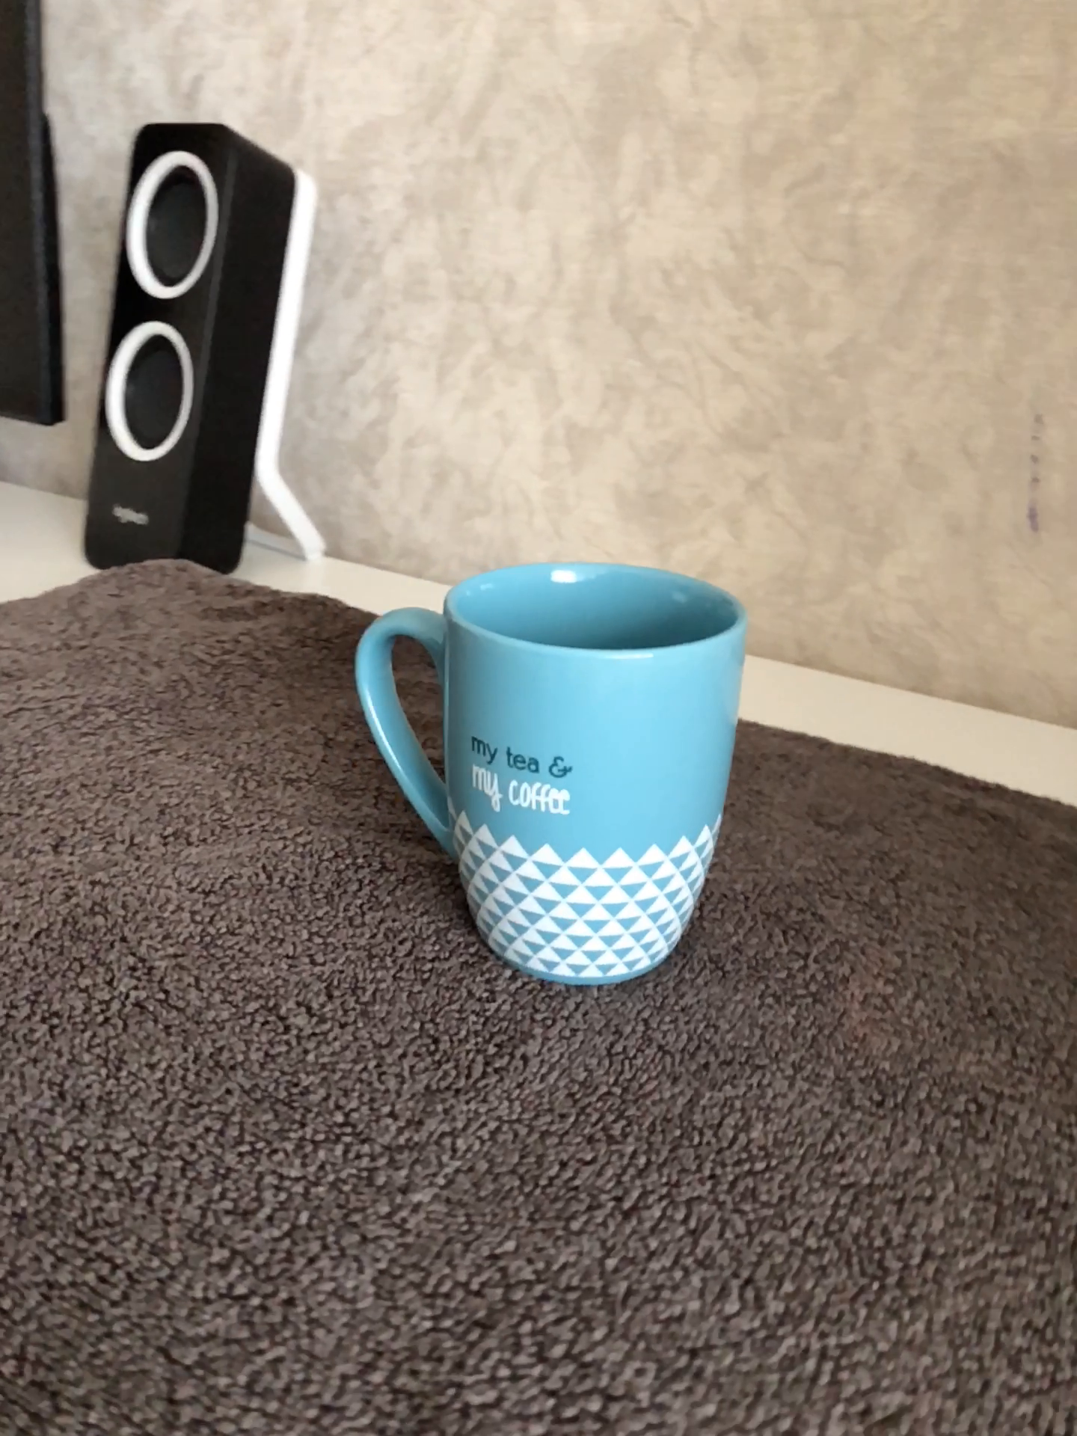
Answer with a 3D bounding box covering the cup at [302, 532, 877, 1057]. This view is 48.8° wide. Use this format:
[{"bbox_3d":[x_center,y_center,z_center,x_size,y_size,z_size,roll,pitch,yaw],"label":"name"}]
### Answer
[{"bbox_3d":[0.014,0.011,0.325,0.126,0.090,0.087,13,24,22],"label":"cup"}]
